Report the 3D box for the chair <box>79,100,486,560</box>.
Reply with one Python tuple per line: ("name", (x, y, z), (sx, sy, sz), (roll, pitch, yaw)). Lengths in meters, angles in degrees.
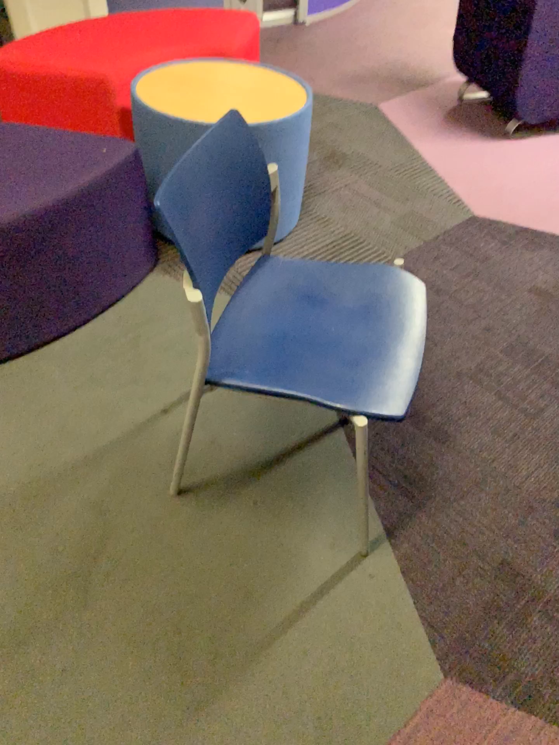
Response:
("chair", (0.045, -0.085, 1.230), (0.570, 0.694, 0.565), (13, 48, 10))
